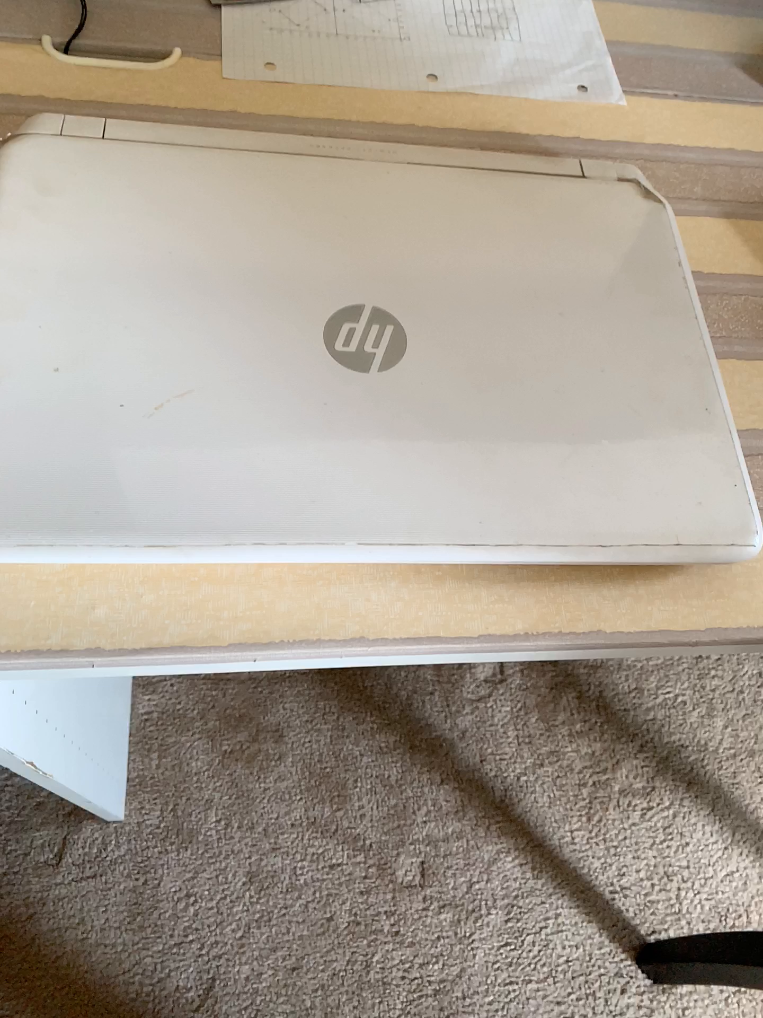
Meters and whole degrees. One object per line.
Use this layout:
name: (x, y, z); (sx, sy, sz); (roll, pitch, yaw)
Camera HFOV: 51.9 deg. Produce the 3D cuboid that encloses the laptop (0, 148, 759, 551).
laptop: (-0.009, -0.086, 0.391); (0.363, 0.002, 0.229); (0, 64, -8)
